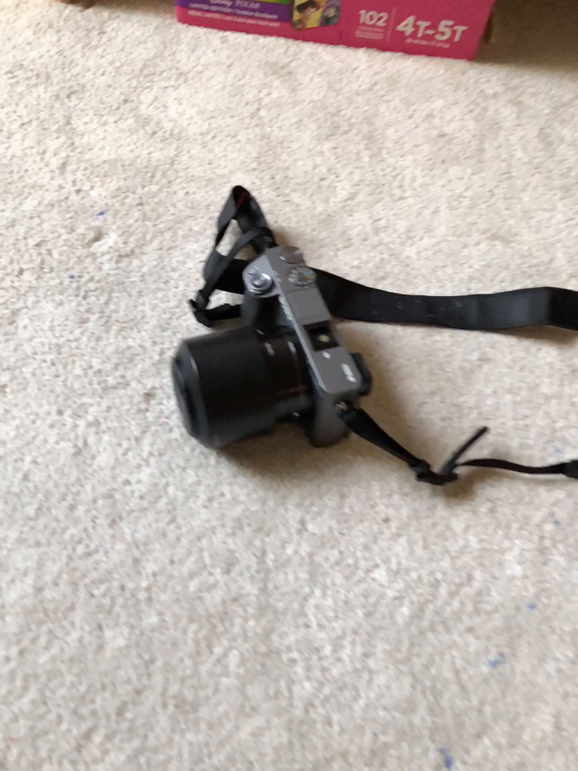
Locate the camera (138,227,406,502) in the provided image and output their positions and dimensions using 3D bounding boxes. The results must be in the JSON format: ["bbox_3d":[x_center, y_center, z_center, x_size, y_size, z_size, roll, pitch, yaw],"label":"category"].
[{"bbox_3d":[-0.017,-0.017,0.401,0.120,0.080,0.130,-13,58,-16],"label":"camera"}]
